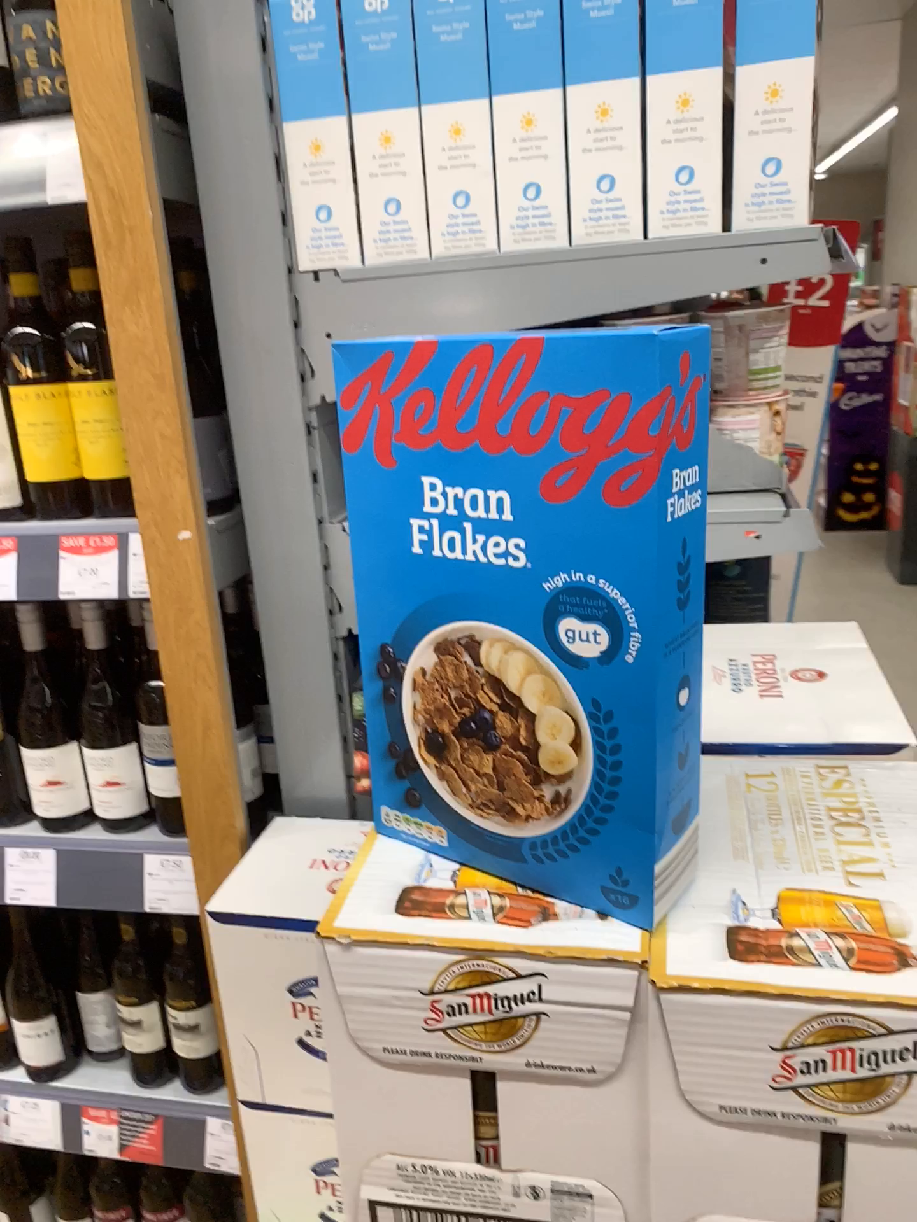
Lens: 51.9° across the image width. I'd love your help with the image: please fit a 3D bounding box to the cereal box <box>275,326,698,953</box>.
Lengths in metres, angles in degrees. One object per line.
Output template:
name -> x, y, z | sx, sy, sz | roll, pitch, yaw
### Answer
cereal box -> 0.013, 0.004, 0.498 | 0.201, 0.288, 0.070 | 10, 21, 35
